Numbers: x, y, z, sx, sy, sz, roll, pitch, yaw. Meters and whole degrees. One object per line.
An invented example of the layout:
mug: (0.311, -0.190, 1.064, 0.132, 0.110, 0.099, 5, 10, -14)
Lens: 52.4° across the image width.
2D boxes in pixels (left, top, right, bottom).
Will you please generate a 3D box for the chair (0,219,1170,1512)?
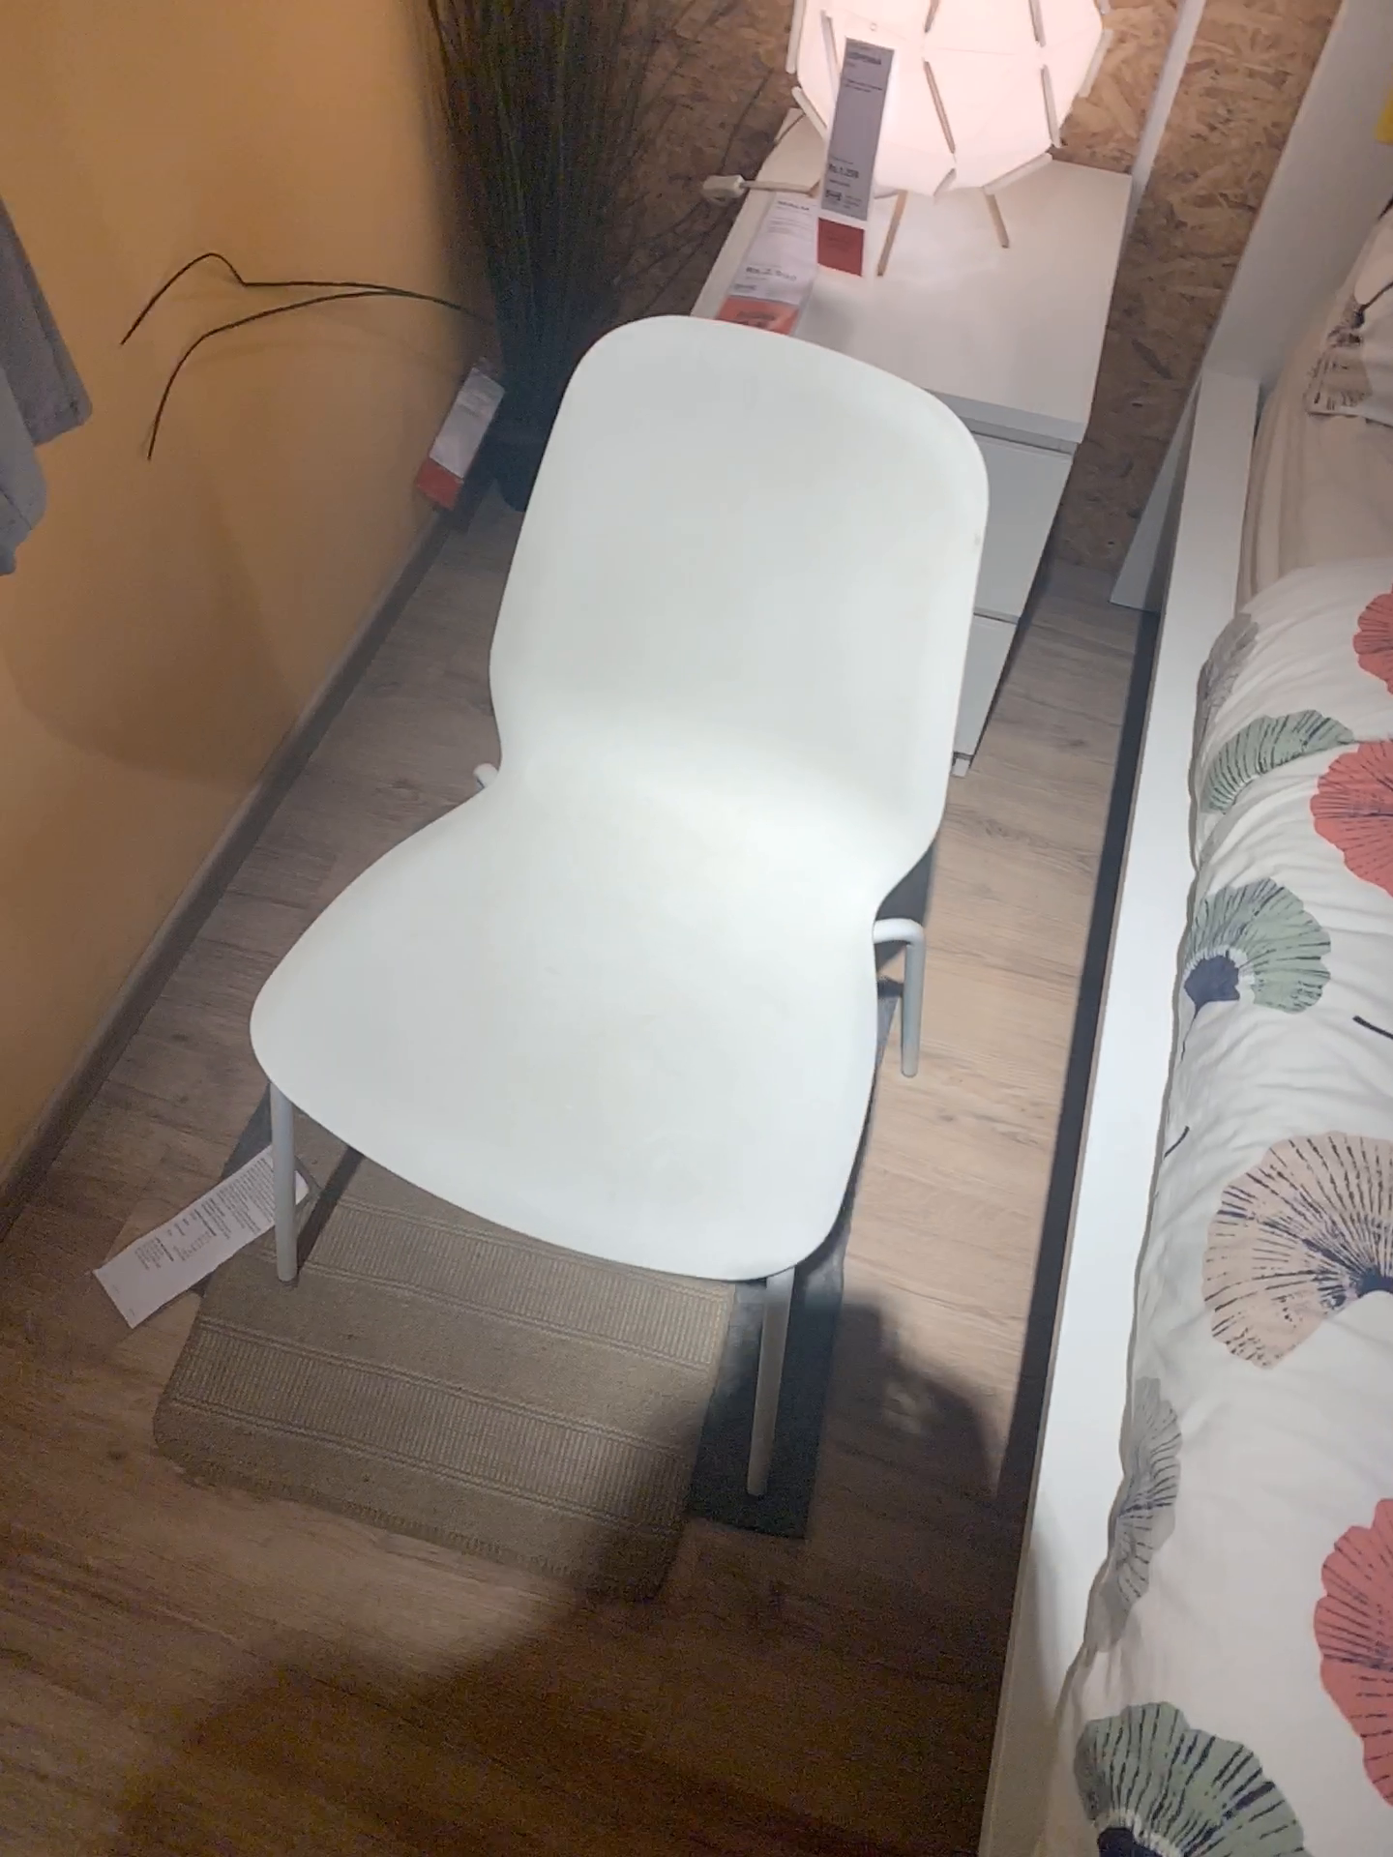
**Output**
chair: (-0.061, -0.002, 1.146, 0.540, 0.758, 0.561, 20, 56, 10)
